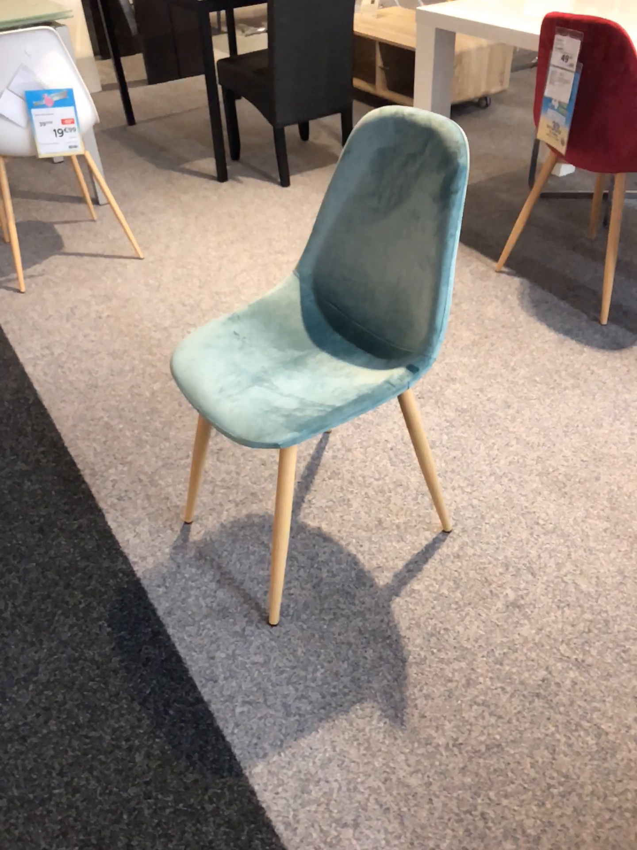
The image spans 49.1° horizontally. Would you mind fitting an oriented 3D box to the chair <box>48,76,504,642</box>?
[{"bbox_3d":[-0.061,-0.135,1.352,0.552,0.835,0.471,-25,43,-26],"label":"chair"}]
